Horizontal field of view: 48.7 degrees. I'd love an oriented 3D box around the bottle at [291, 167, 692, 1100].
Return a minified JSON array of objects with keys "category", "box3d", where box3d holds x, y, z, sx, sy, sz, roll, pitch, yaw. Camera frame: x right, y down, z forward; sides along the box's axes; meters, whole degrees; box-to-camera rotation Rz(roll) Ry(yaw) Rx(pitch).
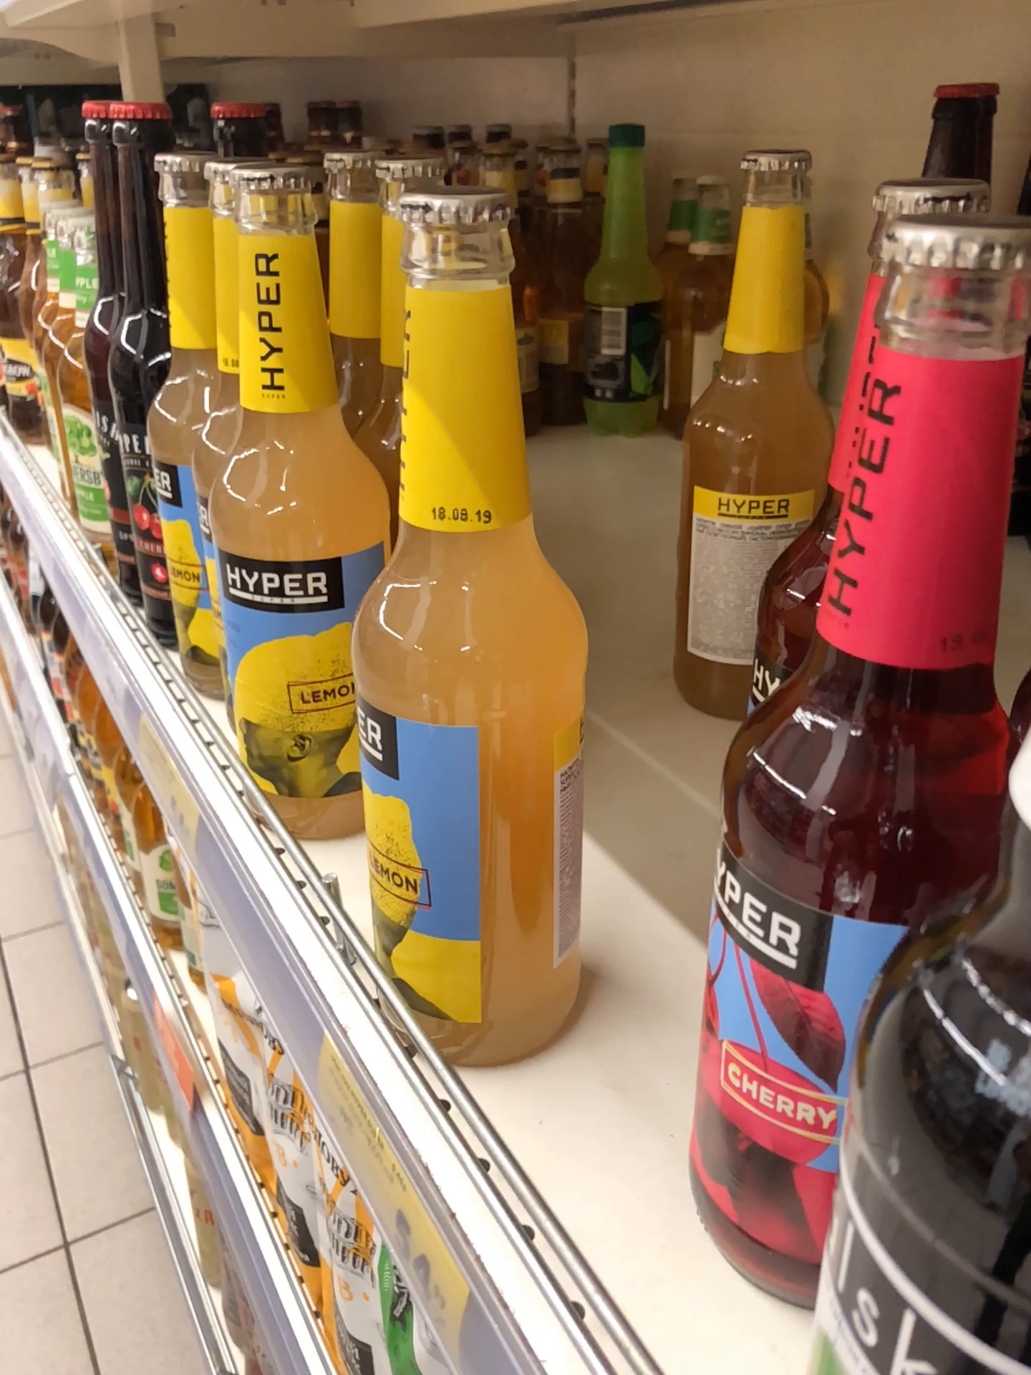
[{"category":"bottle","box3d":[-0.009,-0.011,0.315,0.080,0.239,0.080,-1,26,0]}]
